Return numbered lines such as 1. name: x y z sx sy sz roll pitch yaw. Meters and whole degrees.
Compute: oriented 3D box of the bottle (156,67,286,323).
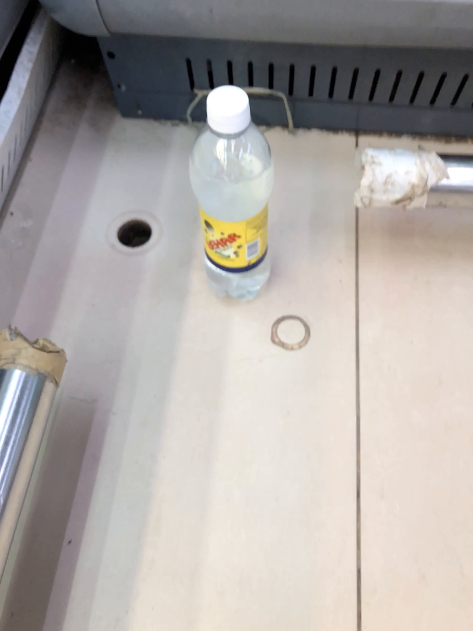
1. bottle: -0.005 -0.087 0.461 0.070 0.229 0.070 -1 60 2
